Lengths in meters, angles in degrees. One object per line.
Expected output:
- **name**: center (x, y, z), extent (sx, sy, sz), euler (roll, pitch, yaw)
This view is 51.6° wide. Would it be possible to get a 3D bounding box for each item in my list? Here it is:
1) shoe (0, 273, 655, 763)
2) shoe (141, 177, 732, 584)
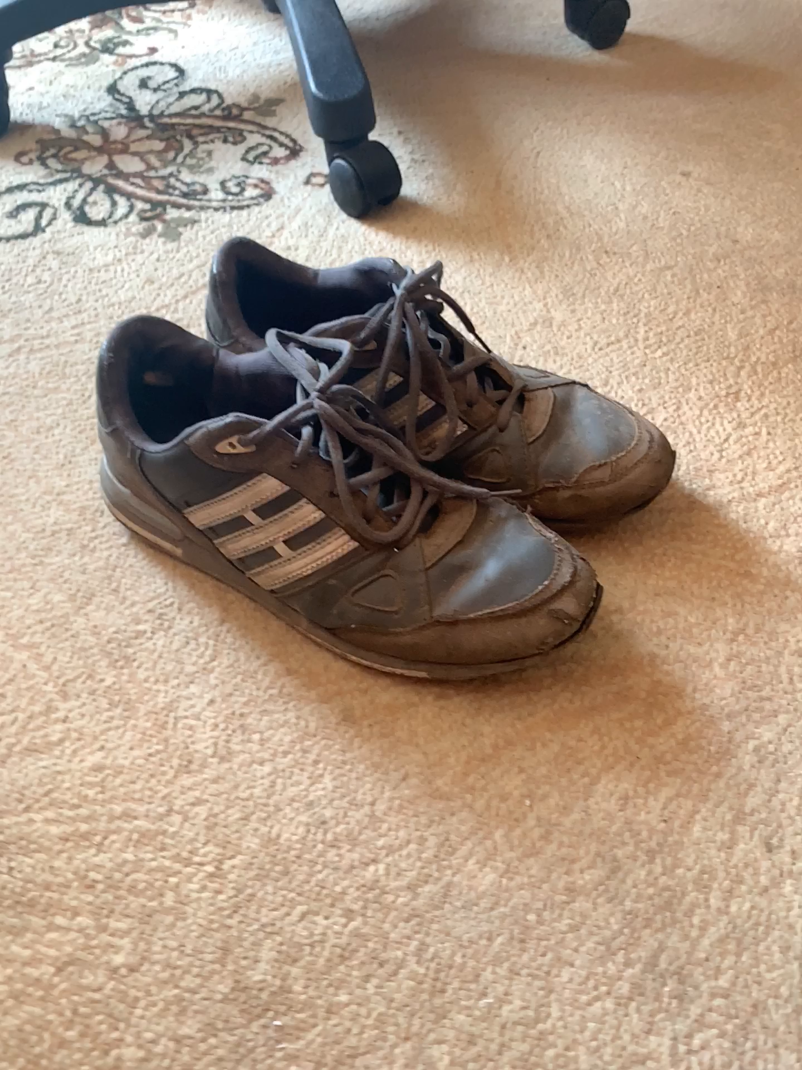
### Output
- **shoe**: center (-0.047, -0.020, 0.437), extent (0.313, 0.099, 0.117), euler (23, 57, 18)
- **shoe**: center (0.015, -0.103, 0.503), extent (0.310, 0.099, 0.121), euler (23, 57, 18)
